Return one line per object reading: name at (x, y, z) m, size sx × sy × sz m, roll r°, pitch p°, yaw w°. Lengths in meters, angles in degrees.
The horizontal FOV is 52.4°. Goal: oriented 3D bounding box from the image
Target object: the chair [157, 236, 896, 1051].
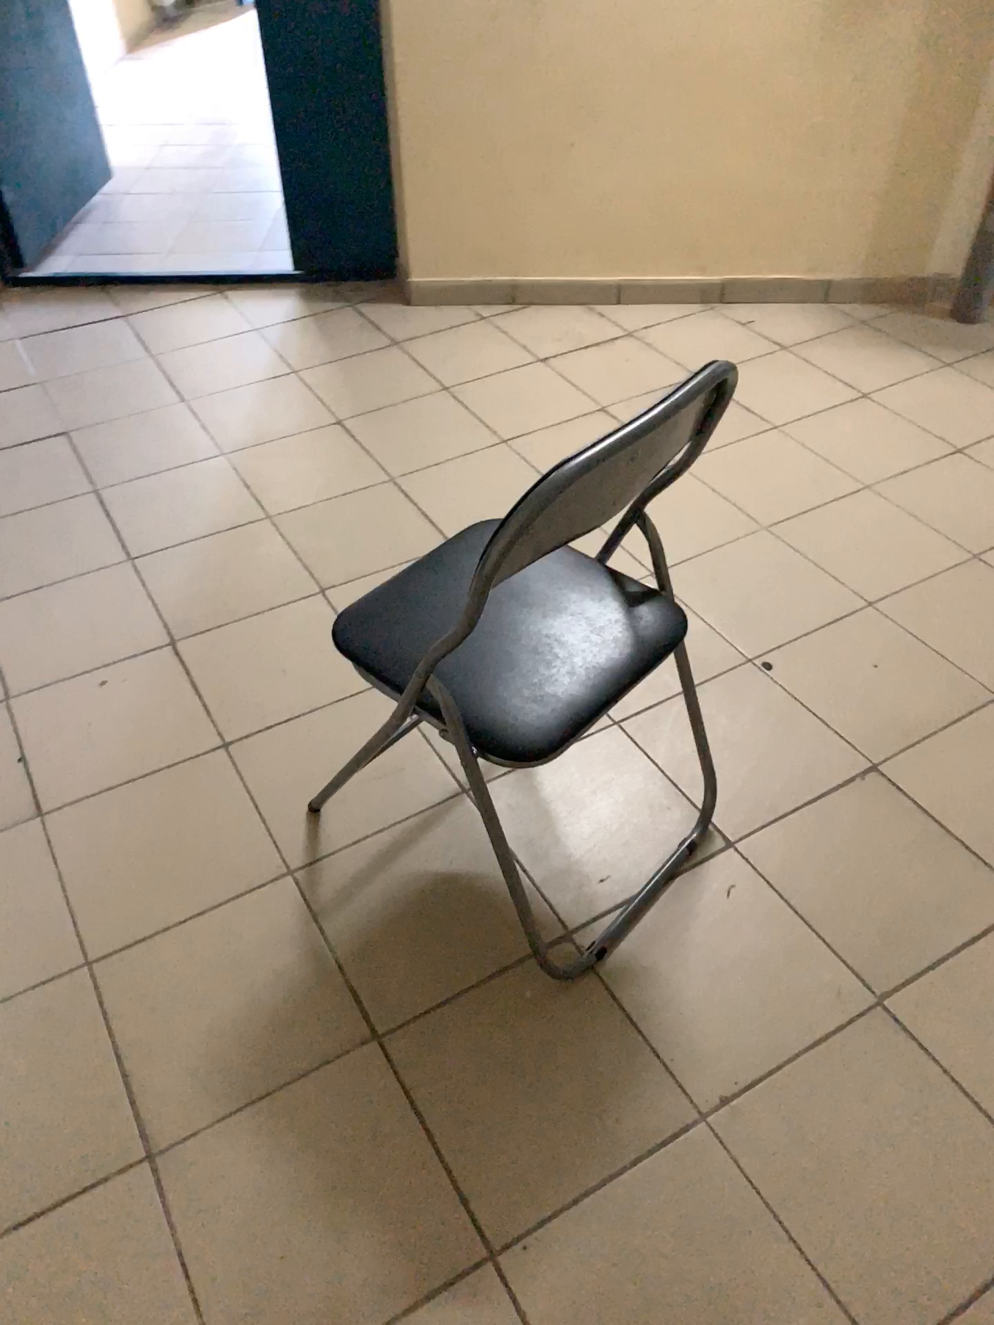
chair at (0.039, -0.048, 1.334) m, size 0.561 × 0.727 × 0.571 m, roll 32°, pitch 51°, yaw 31°
